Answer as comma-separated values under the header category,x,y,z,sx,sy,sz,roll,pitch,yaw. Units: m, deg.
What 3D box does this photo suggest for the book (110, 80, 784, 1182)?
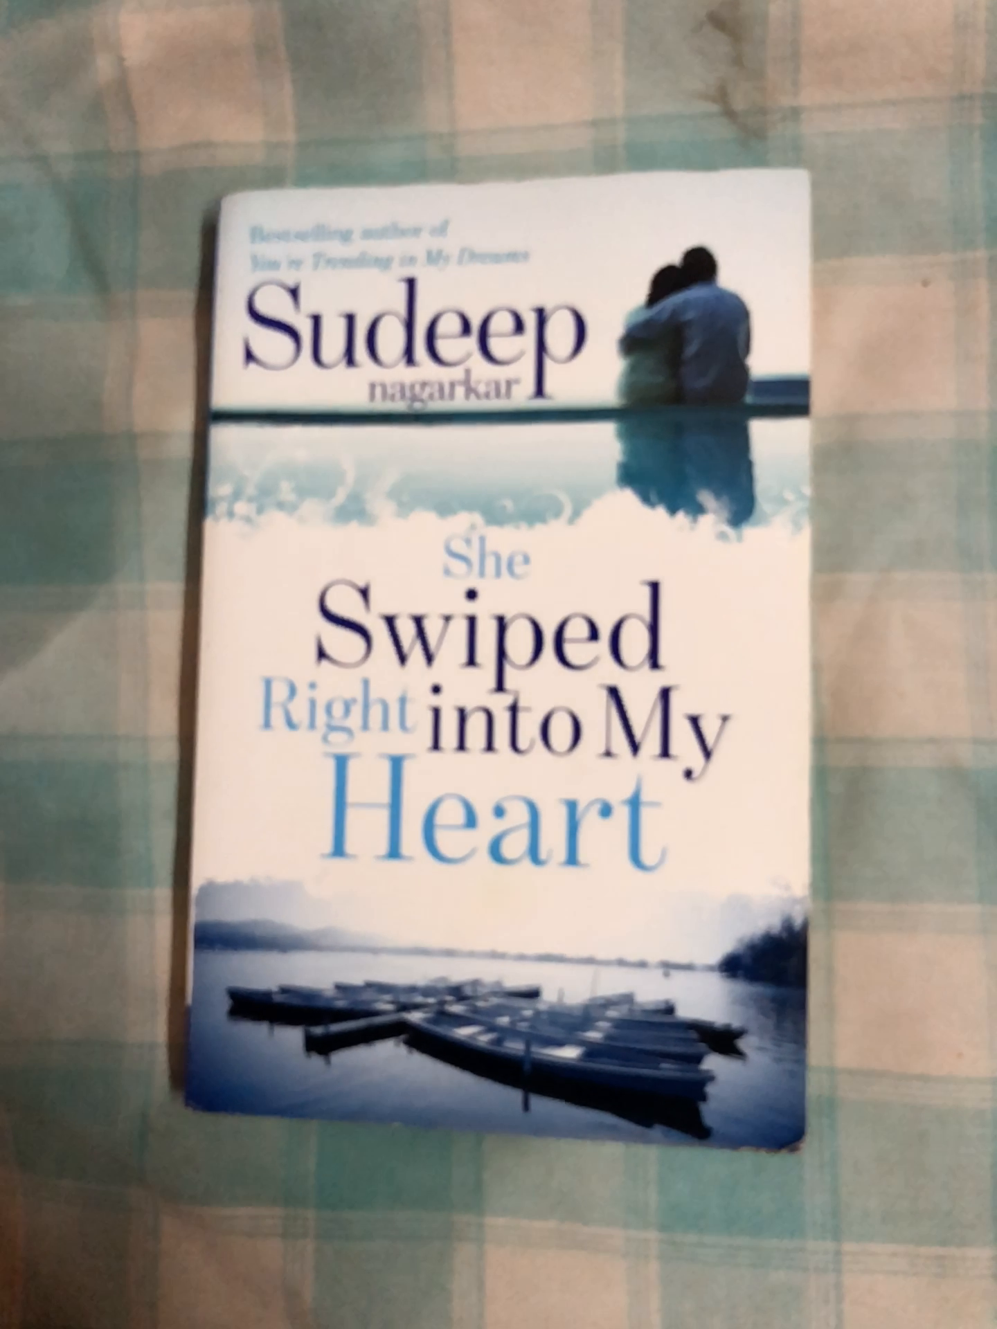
category,x,y,z,sx,sy,sz,roll,pitch,yaw
book,-0.010,-0.009,0.239,0.130,0.030,0.210,1,88,8
